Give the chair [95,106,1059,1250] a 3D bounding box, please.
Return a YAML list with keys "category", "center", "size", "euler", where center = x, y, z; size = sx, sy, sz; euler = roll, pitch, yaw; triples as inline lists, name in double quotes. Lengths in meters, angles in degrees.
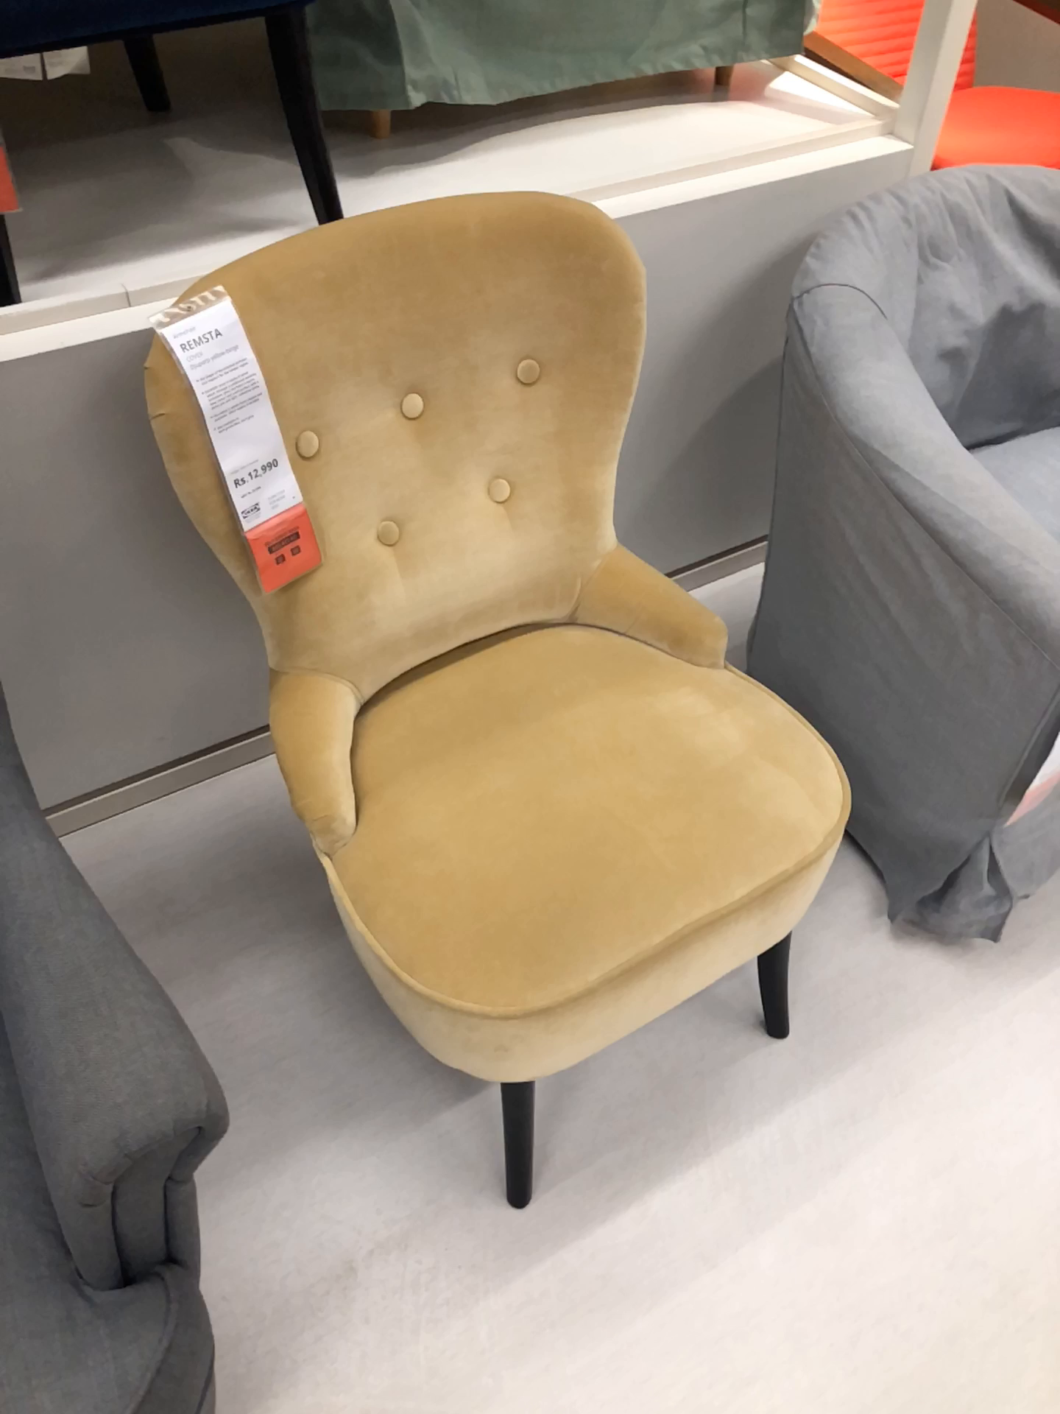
- category: "chair"
  center: [0.032, -0.022, 1.234]
  size: [0.581, 0.864, 0.643]
  euler: [-24, 52, -23]
